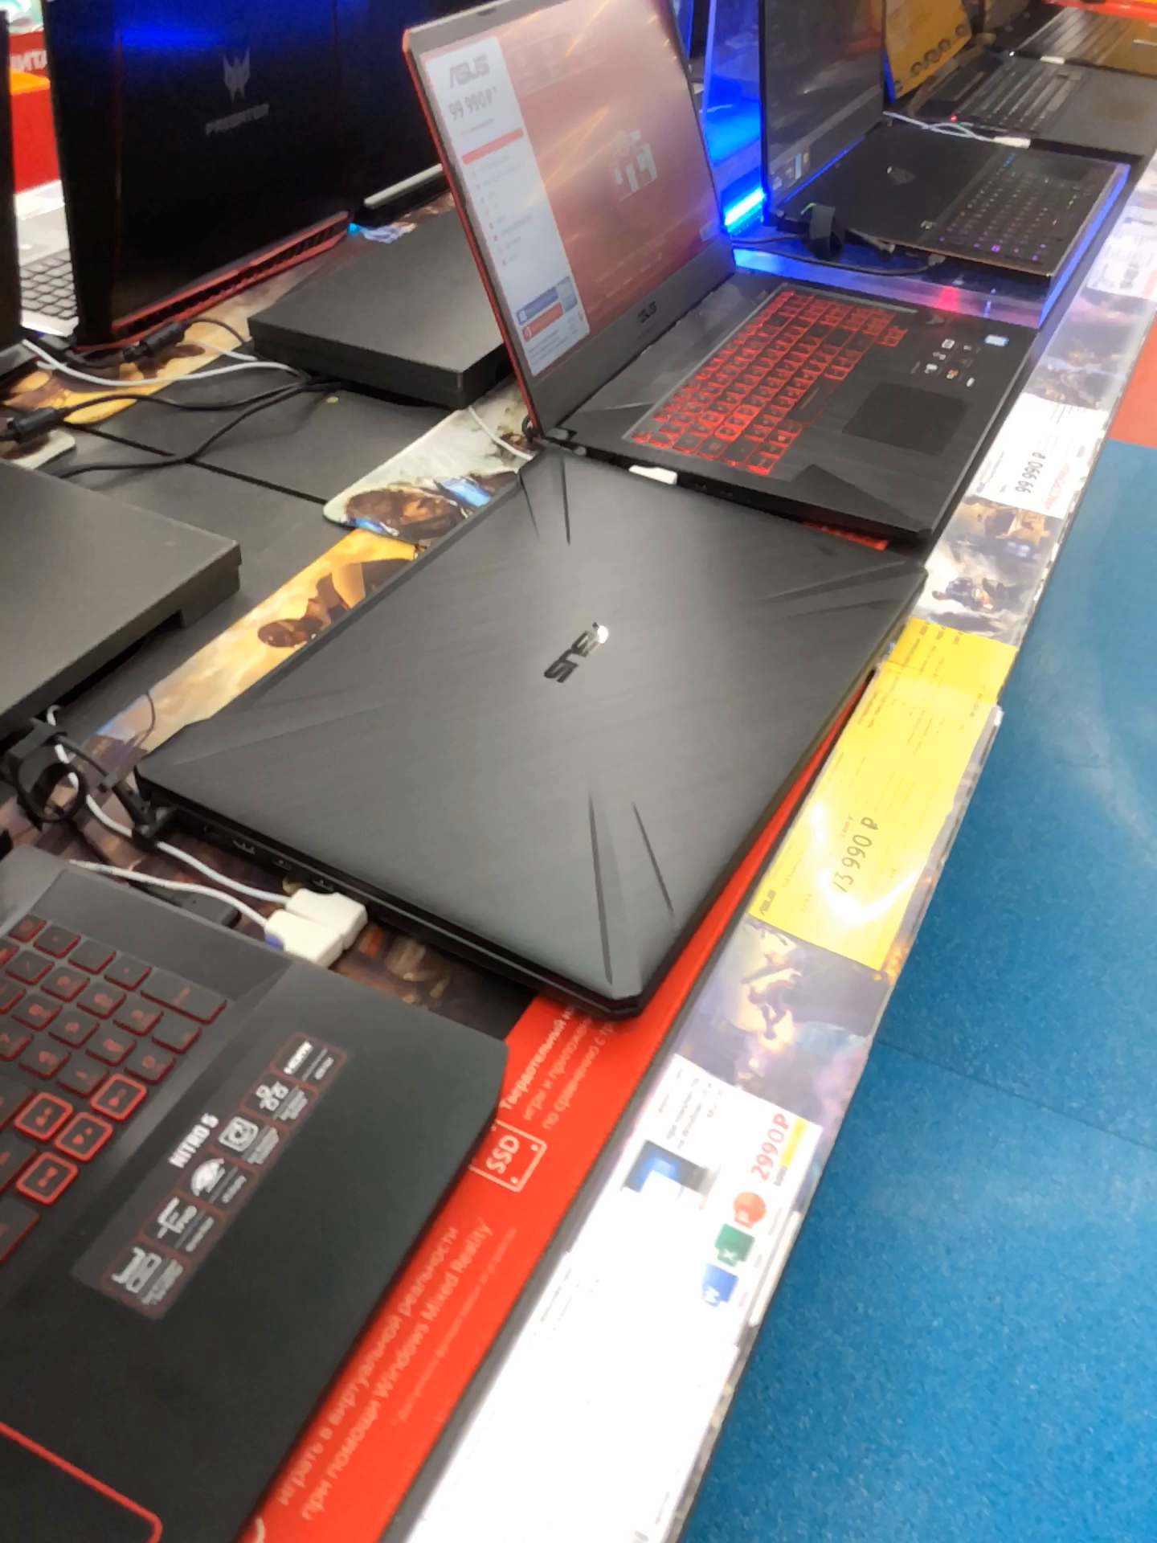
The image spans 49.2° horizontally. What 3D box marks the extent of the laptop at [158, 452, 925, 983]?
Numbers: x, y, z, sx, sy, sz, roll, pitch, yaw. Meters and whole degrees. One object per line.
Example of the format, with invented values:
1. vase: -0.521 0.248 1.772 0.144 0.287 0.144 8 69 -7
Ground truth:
1. laptop: 0.005 -0.066 0.700 0.261 0.001 0.387 22 45 20
